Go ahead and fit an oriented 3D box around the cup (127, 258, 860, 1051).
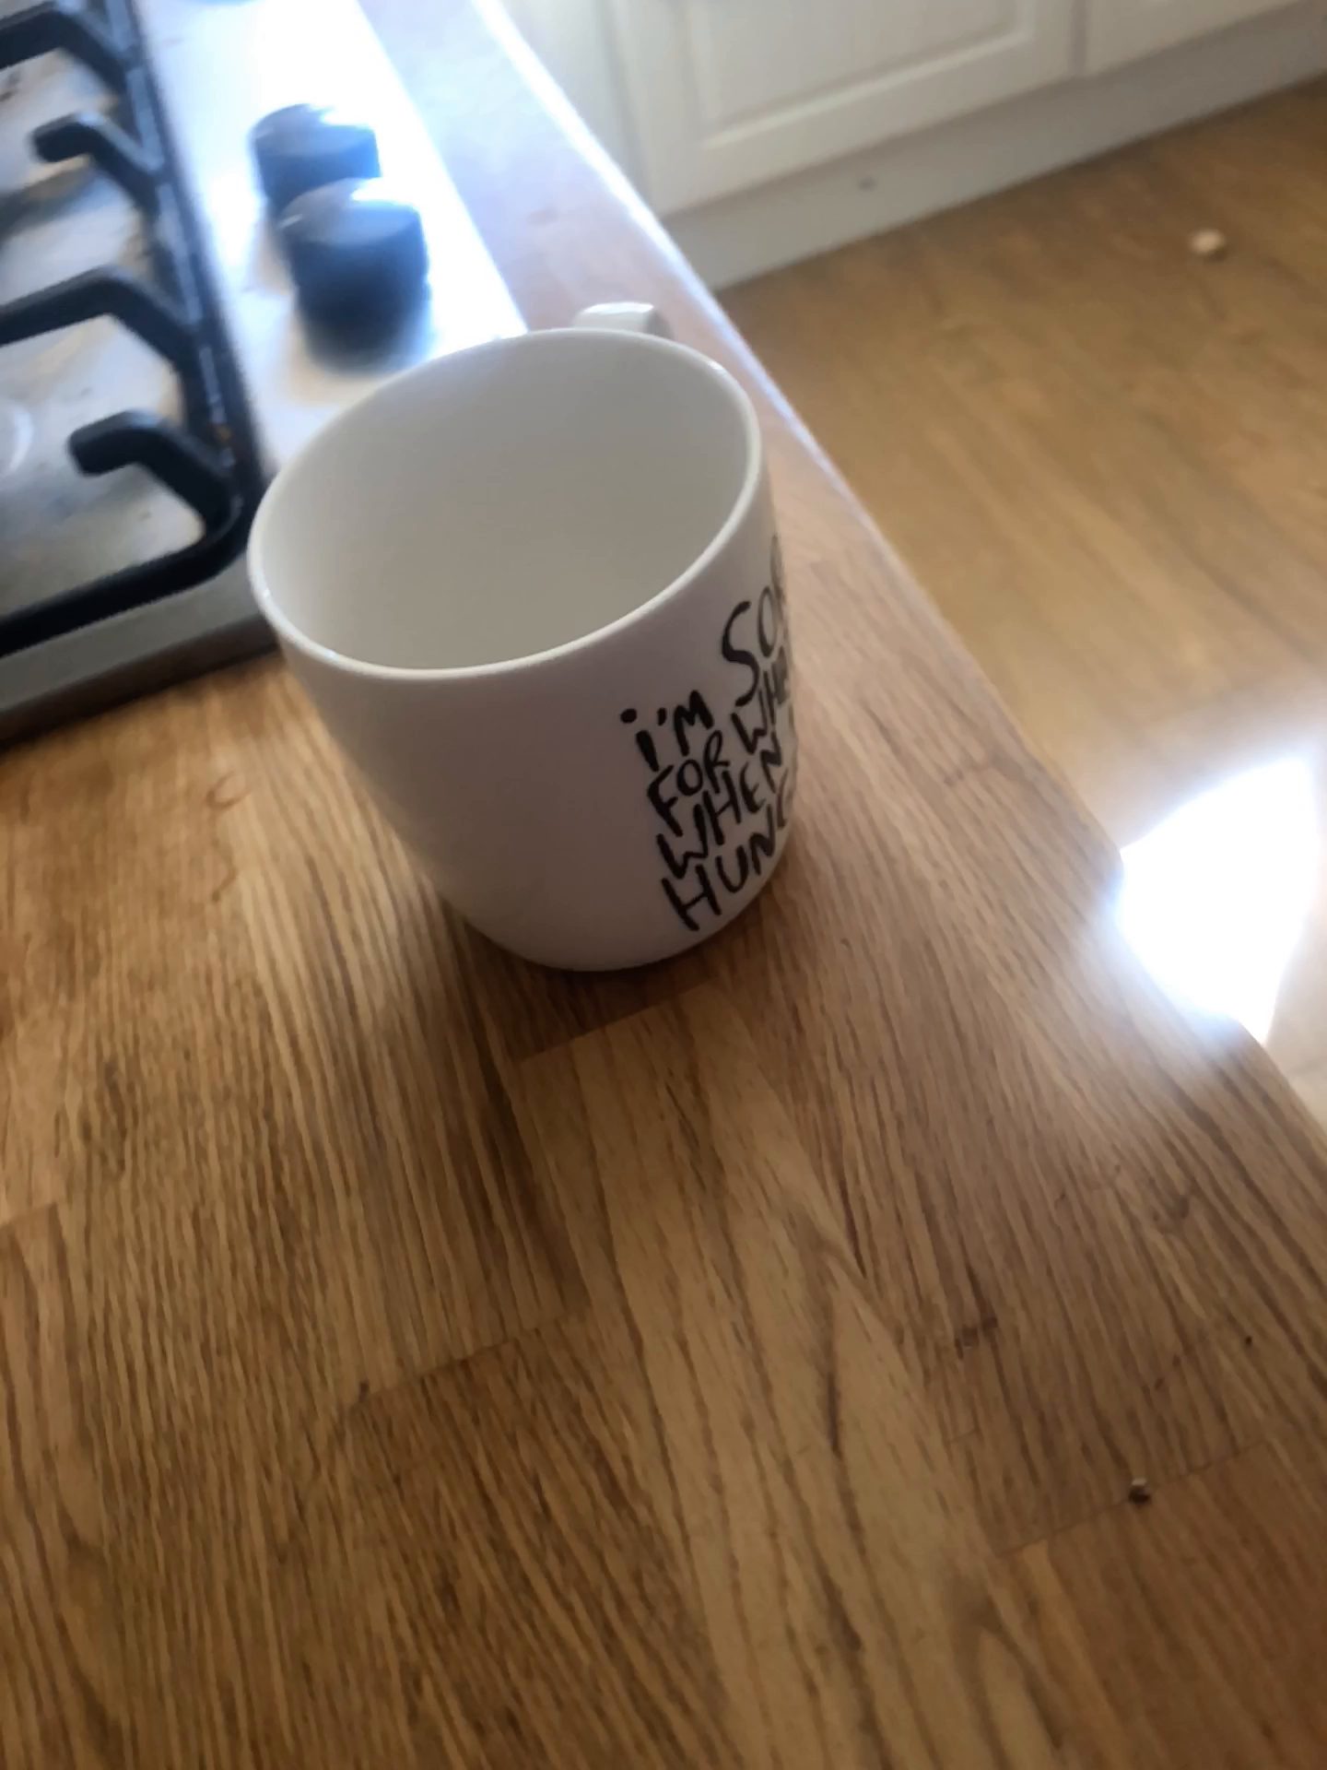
[{"bbox_3d":[-0.019,-0.045,0.281,0.090,0.087,0.115,4,54,16],"label":"cup"}]
